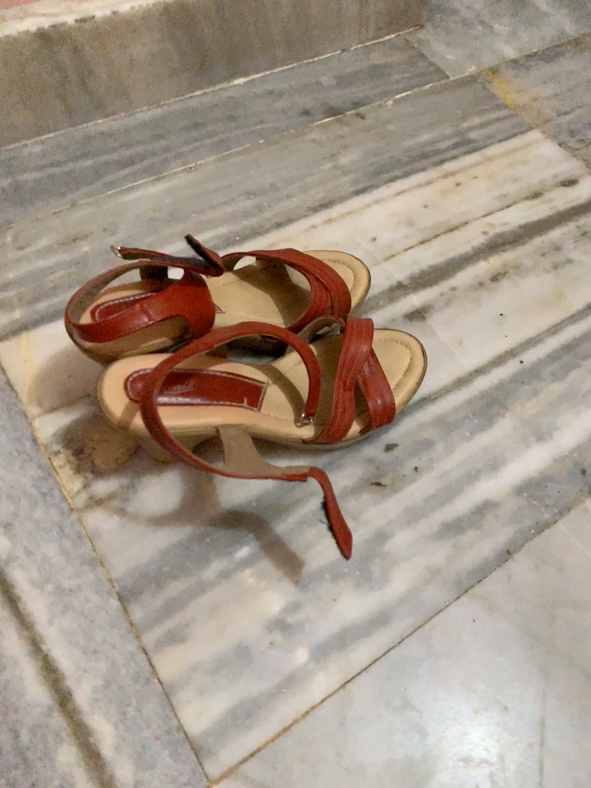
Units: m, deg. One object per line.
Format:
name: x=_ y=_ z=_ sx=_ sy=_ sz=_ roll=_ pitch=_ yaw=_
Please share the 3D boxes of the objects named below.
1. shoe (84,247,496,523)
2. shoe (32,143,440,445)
shoe: x=-0.006 y=-0.009 z=0.421 sx=0.240 sy=0.100 sz=0.100 roll=-15 pitch=61 yaw=-15
shoe: x=-0.036 y=-0.076 z=0.427 sx=0.240 sy=0.100 sz=0.100 roll=-24 pitch=64 yaw=-20
